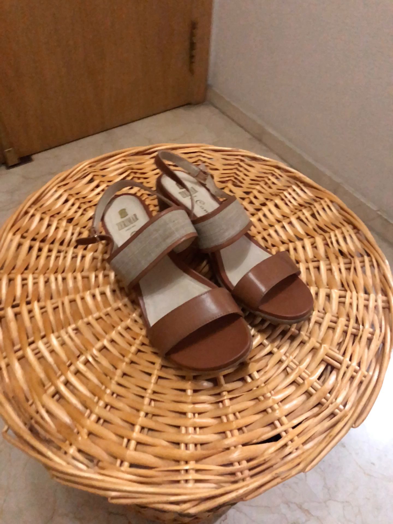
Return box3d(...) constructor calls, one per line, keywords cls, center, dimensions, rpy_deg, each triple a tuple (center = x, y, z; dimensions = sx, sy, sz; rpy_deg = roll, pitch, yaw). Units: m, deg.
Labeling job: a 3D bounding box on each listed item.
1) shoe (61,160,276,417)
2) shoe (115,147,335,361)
box3d(cls="shoe", center=(-0.039, 0.013, 0.468), dimensions=(0.100, 0.070, 0.271), rpy_deg=(-32, 58, -9))
box3d(cls="shoe", center=(0.020, -0.021, 0.529), dimensions=(0.090, 0.090, 0.271), rpy_deg=(-32, 59, -27))
